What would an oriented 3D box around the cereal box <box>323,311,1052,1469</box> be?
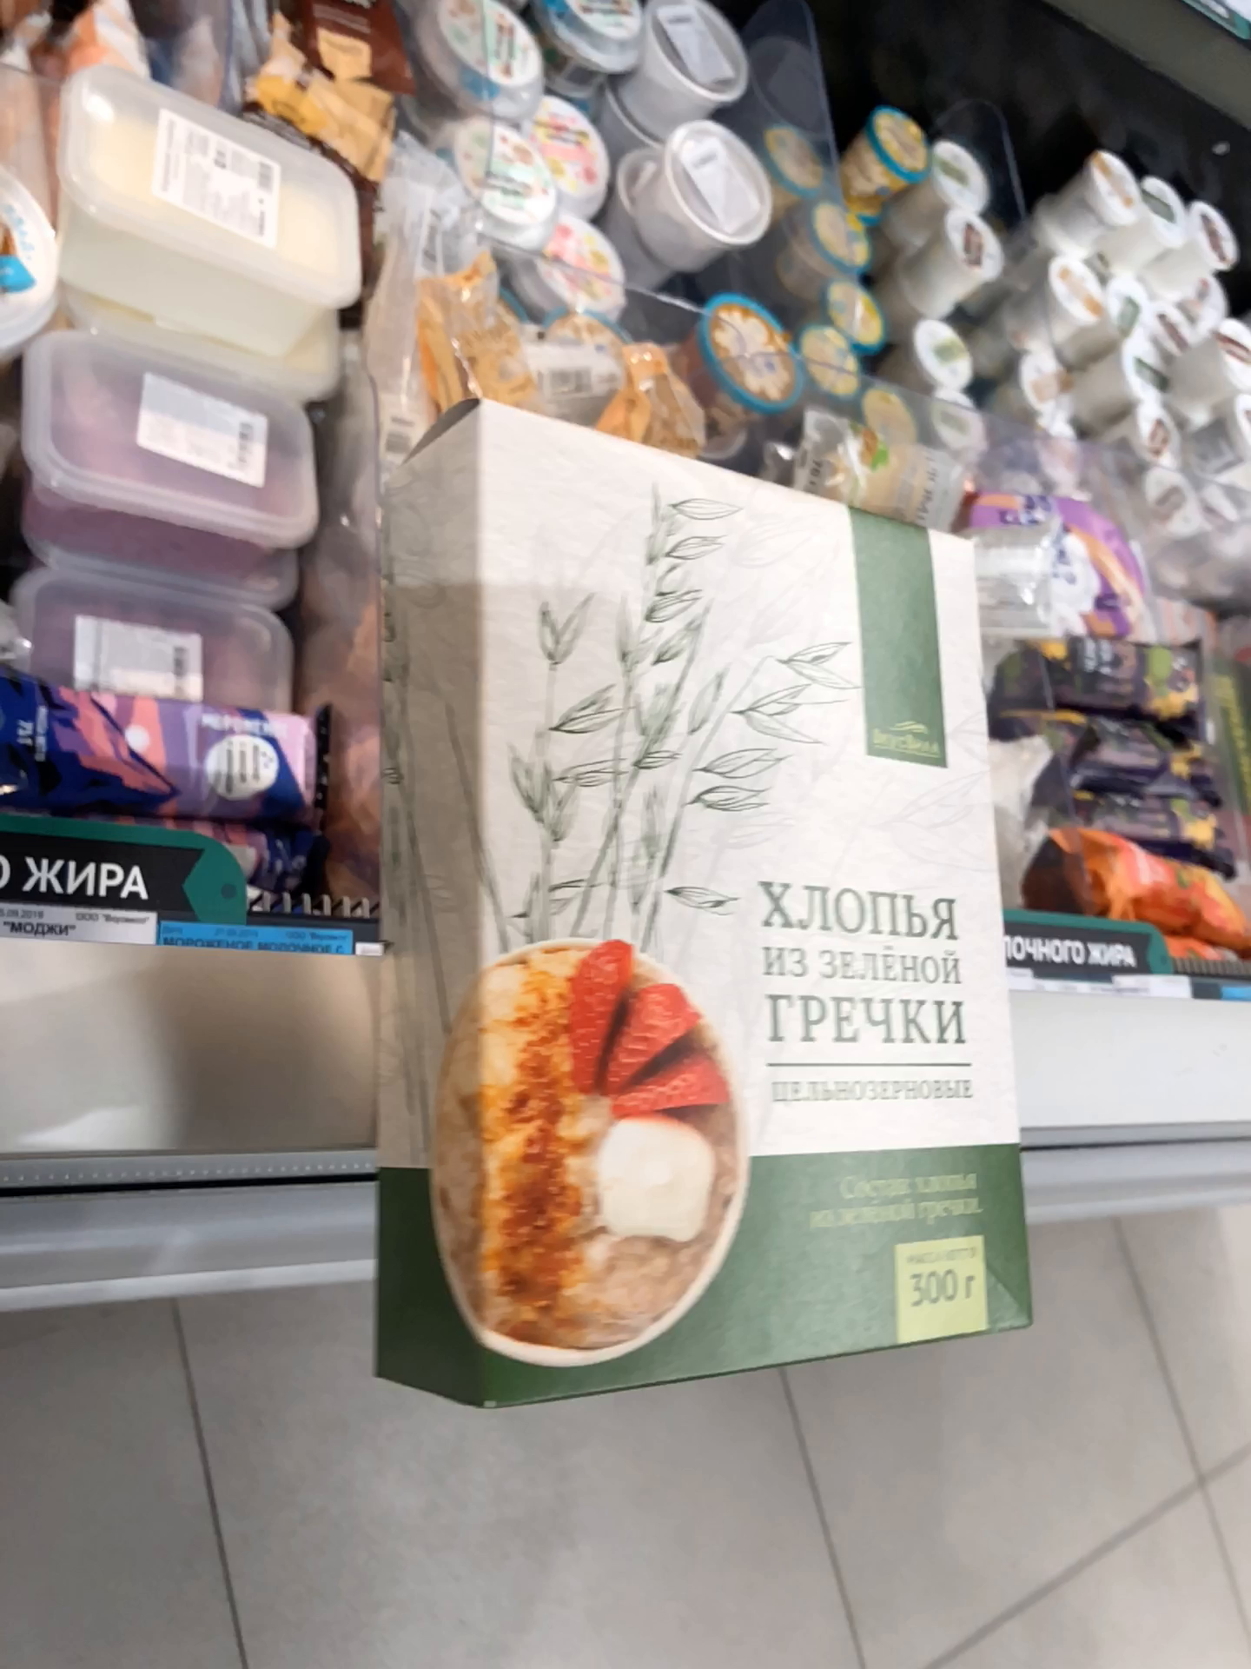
[{"bbox_3d":[0.017,0.012,0.301,0.151,0.050,0.200,6,78,-35],"label":"cereal box"}]
